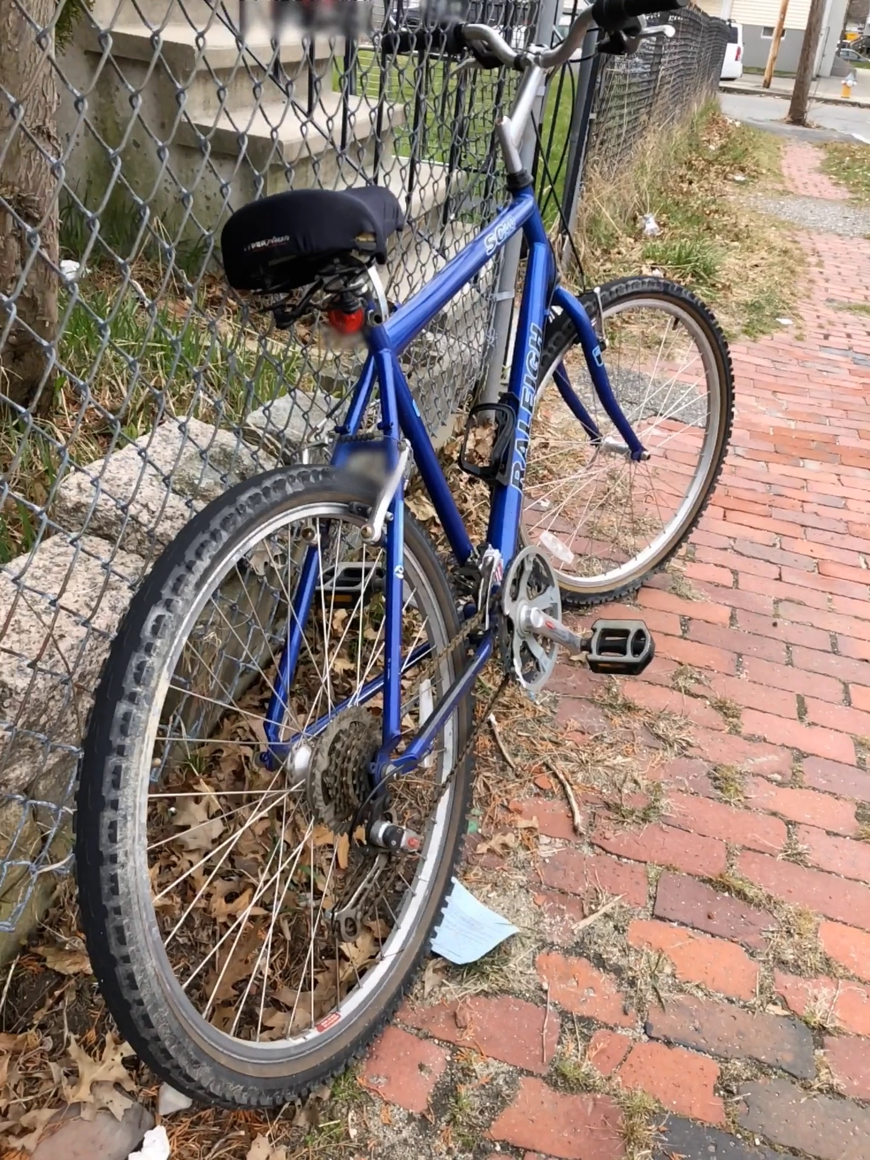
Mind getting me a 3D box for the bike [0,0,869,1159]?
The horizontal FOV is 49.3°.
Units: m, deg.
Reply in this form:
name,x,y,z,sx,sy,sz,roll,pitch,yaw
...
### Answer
name,x,y,z,sx,sy,sz,roll,pitch,yaw
bike,0.030,-0.266,1.339,0.679,1.024,1.675,19,34,24
